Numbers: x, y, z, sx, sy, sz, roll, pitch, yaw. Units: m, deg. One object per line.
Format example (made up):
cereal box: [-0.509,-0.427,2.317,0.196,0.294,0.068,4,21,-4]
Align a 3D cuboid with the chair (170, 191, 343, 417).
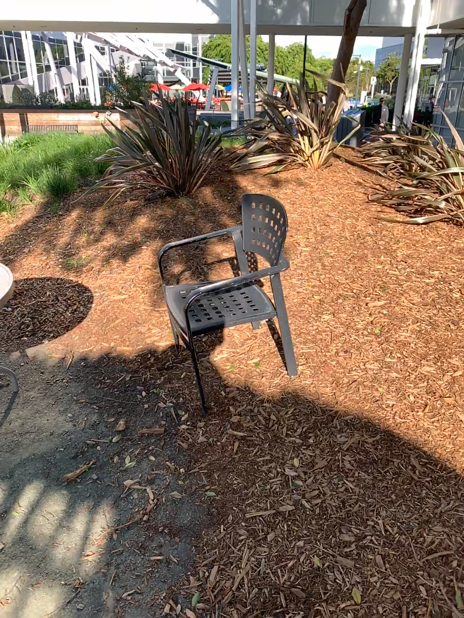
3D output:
chair: [0.061,-0.057,1.920,0.500,0.716,0.523,-7,25,-16]
